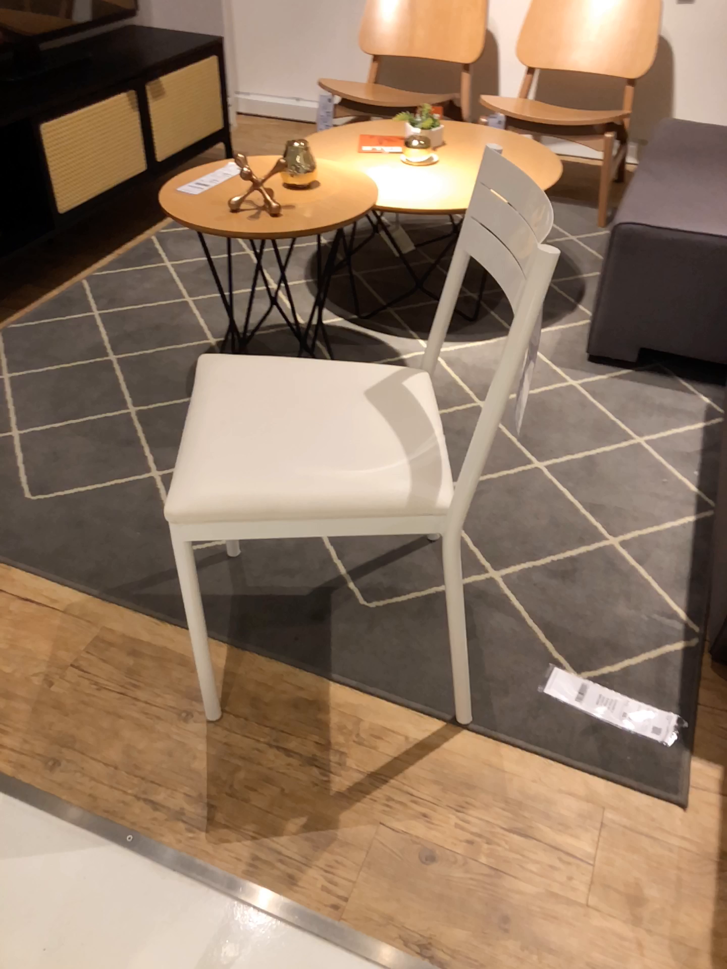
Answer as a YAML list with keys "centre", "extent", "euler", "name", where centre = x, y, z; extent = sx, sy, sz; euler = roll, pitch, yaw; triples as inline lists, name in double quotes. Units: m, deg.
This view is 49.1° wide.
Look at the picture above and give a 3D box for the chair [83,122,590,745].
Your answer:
- centre: [-0.036, -0.052, 1.156]
  extent: [0.470, 0.774, 0.454]
  euler: [-1, 38, -2]
  name: "chair"
